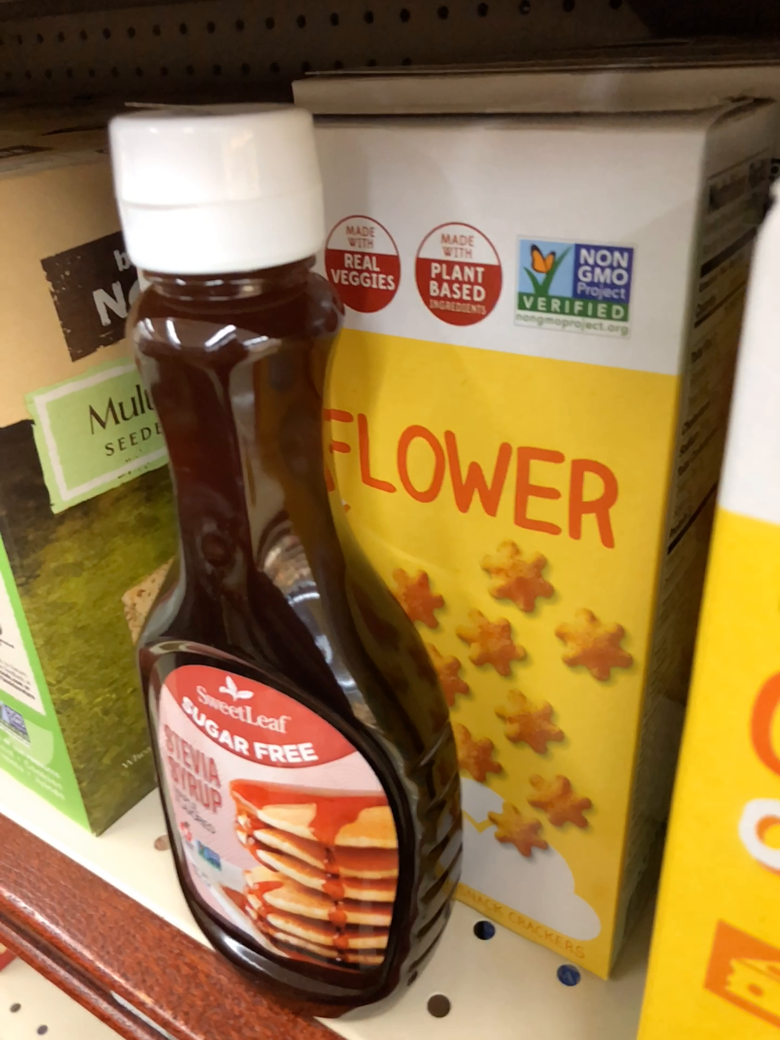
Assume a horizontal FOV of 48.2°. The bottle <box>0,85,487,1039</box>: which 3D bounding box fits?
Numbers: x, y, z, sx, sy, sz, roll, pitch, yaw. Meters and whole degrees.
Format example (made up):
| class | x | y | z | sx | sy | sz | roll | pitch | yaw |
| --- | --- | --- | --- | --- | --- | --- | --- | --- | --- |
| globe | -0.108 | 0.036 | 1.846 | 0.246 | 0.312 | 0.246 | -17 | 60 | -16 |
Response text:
| class | x | y | z | sx | sy | sz | roll | pitch | yaw |
| --- | --- | --- | --- | --- | --- | --- | --- | --- | --- |
| bottle | -0.032 | 0.025 | 0.193 | 0.092 | 0.211 | 0.051 | 12 | 33 | 26 |
